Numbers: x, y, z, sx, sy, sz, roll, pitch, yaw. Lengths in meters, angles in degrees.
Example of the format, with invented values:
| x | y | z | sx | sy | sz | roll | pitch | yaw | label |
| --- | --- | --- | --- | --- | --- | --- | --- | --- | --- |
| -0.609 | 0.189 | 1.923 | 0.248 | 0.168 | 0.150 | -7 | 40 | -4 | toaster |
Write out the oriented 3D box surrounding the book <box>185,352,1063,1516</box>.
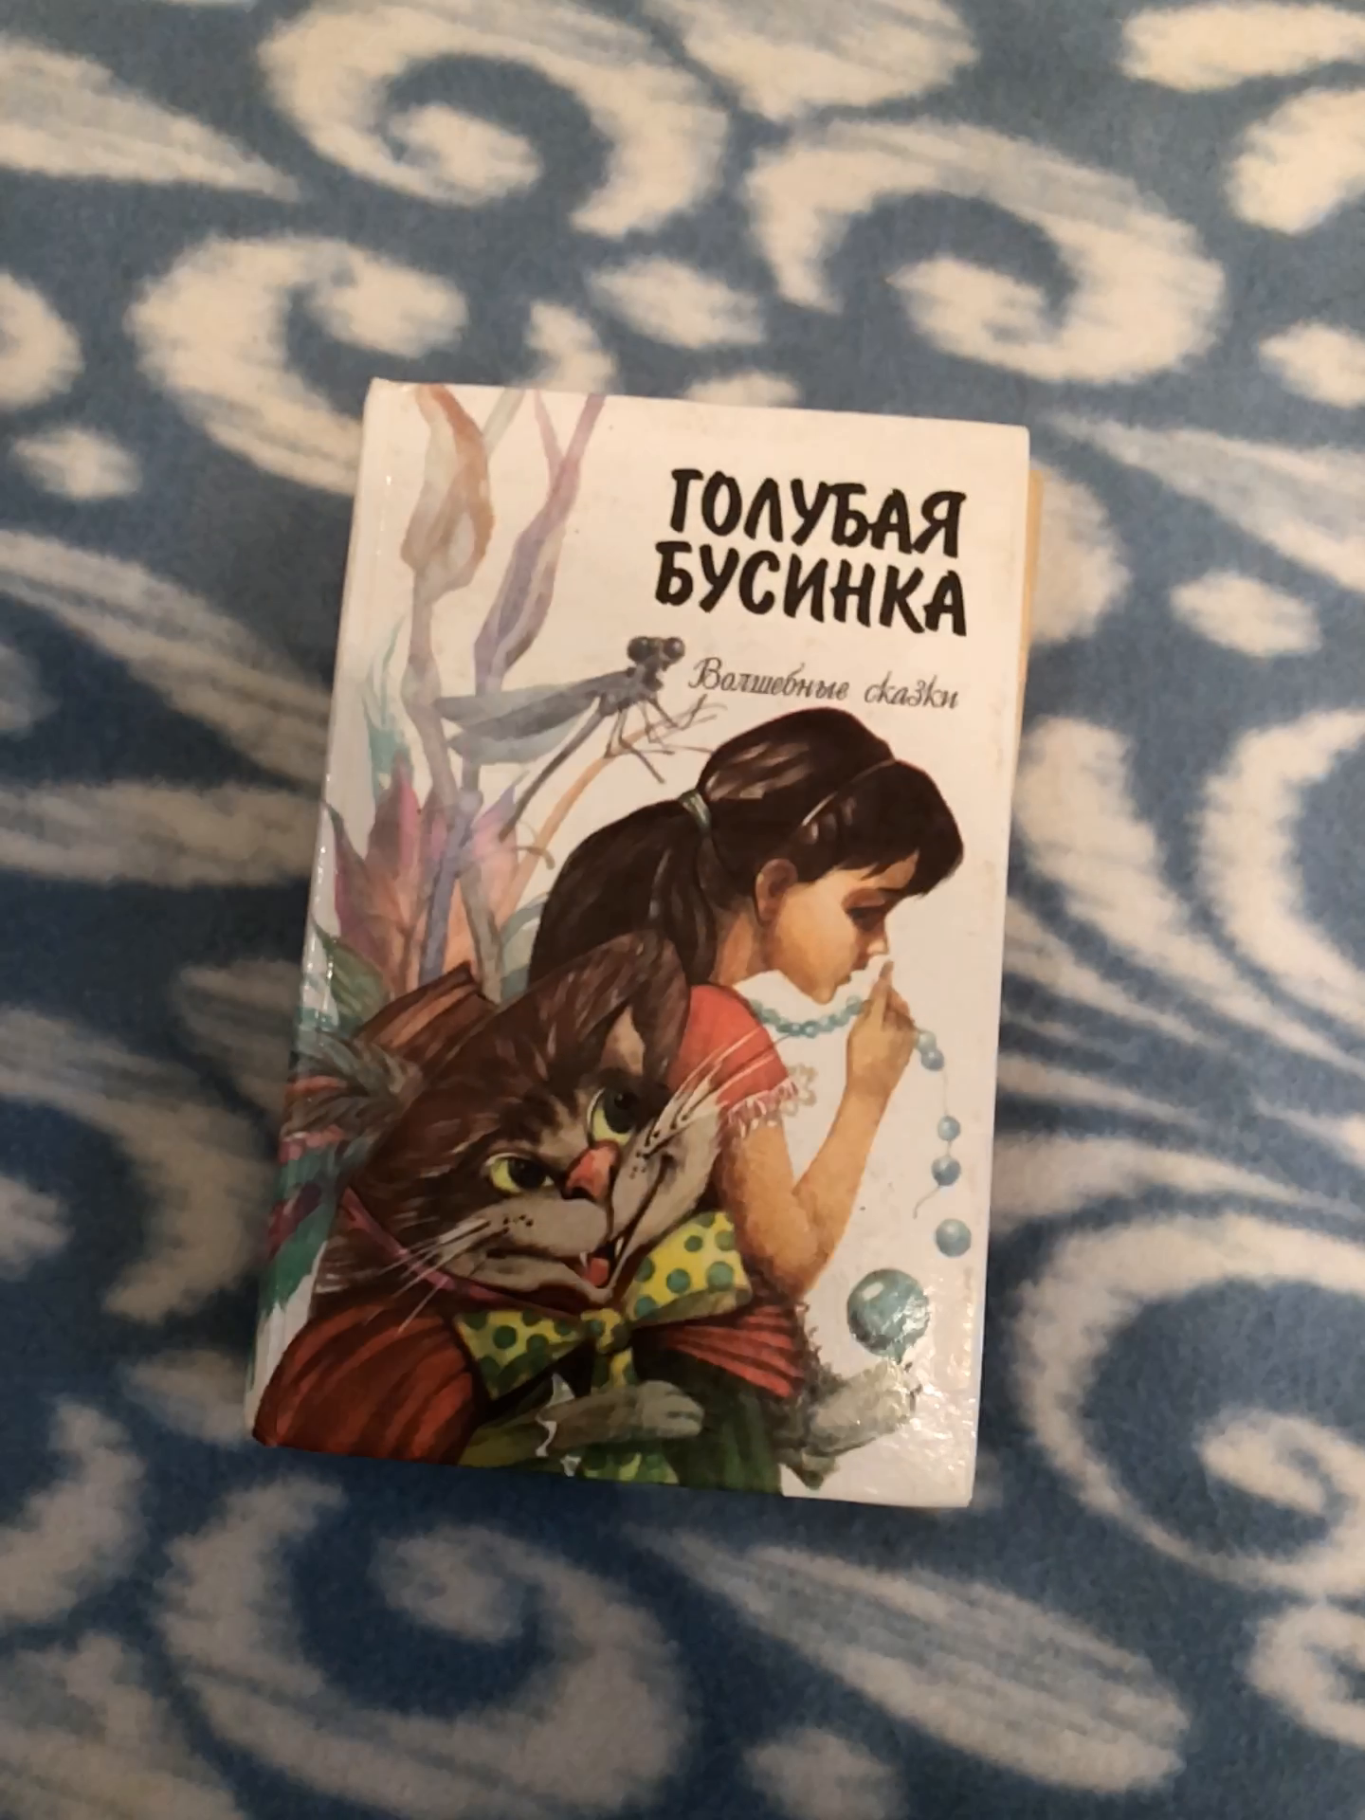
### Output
| x | y | z | sx | sy | sz | roll | pitch | yaw | label |
| --- | --- | --- | --- | --- | --- | --- | --- | --- | --- |
| -0.007 | 0.001 | 0.301 | 0.145 | 0.040 | 0.206 | 5 | 82 | 1 | book |
